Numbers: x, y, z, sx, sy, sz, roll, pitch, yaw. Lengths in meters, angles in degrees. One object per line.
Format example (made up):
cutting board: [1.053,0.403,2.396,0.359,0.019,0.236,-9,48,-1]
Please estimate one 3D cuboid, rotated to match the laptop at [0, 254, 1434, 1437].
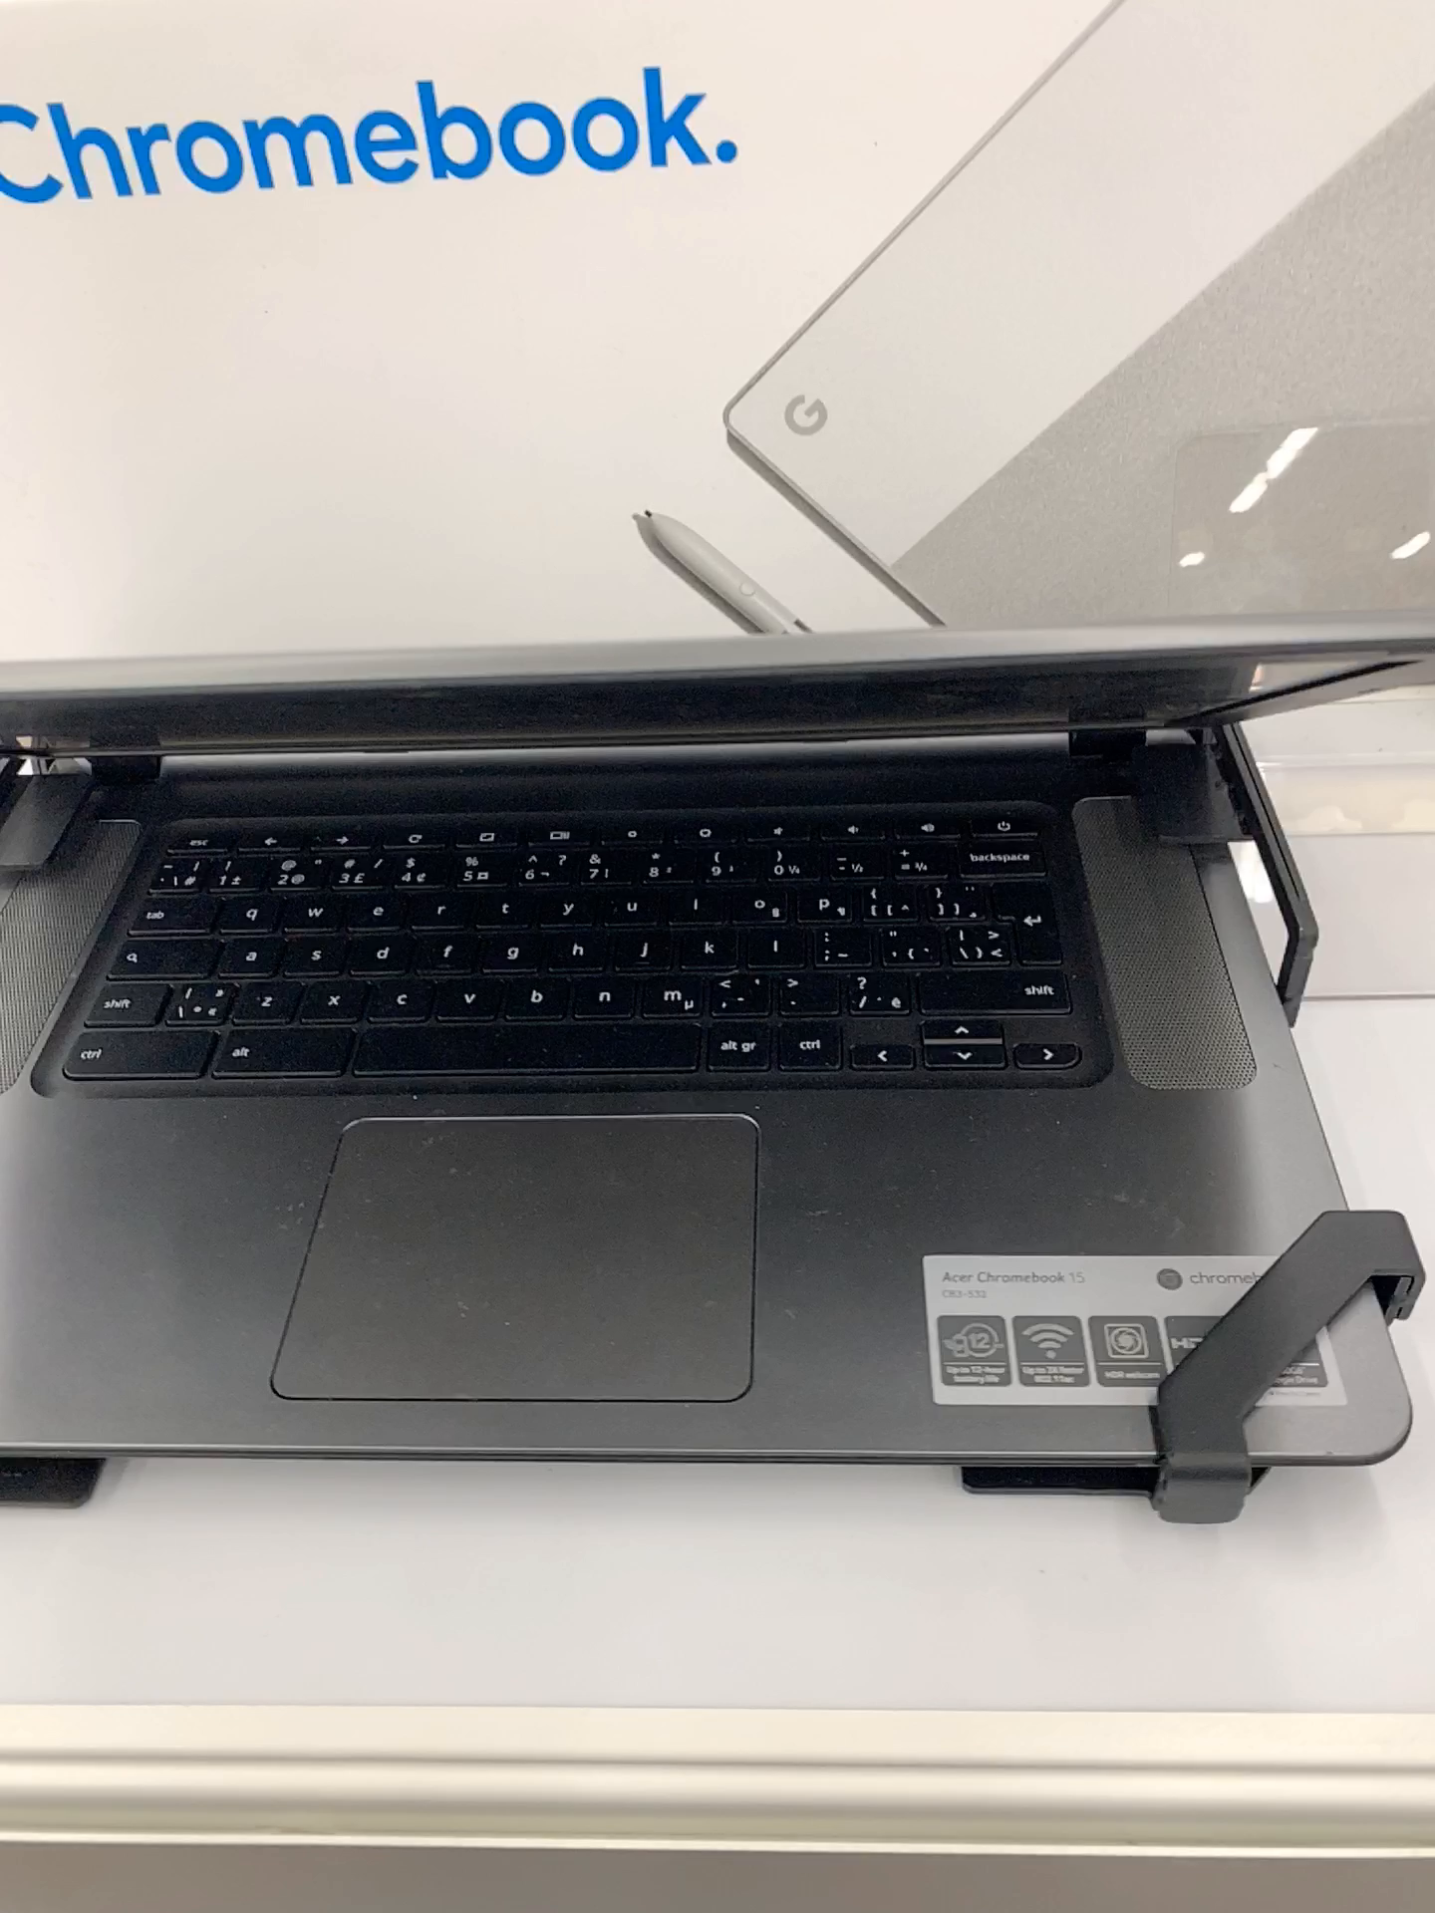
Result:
laptop: [-0.039,-0.030,0.284,0.301,0.116,0.194,-1,45,5]
